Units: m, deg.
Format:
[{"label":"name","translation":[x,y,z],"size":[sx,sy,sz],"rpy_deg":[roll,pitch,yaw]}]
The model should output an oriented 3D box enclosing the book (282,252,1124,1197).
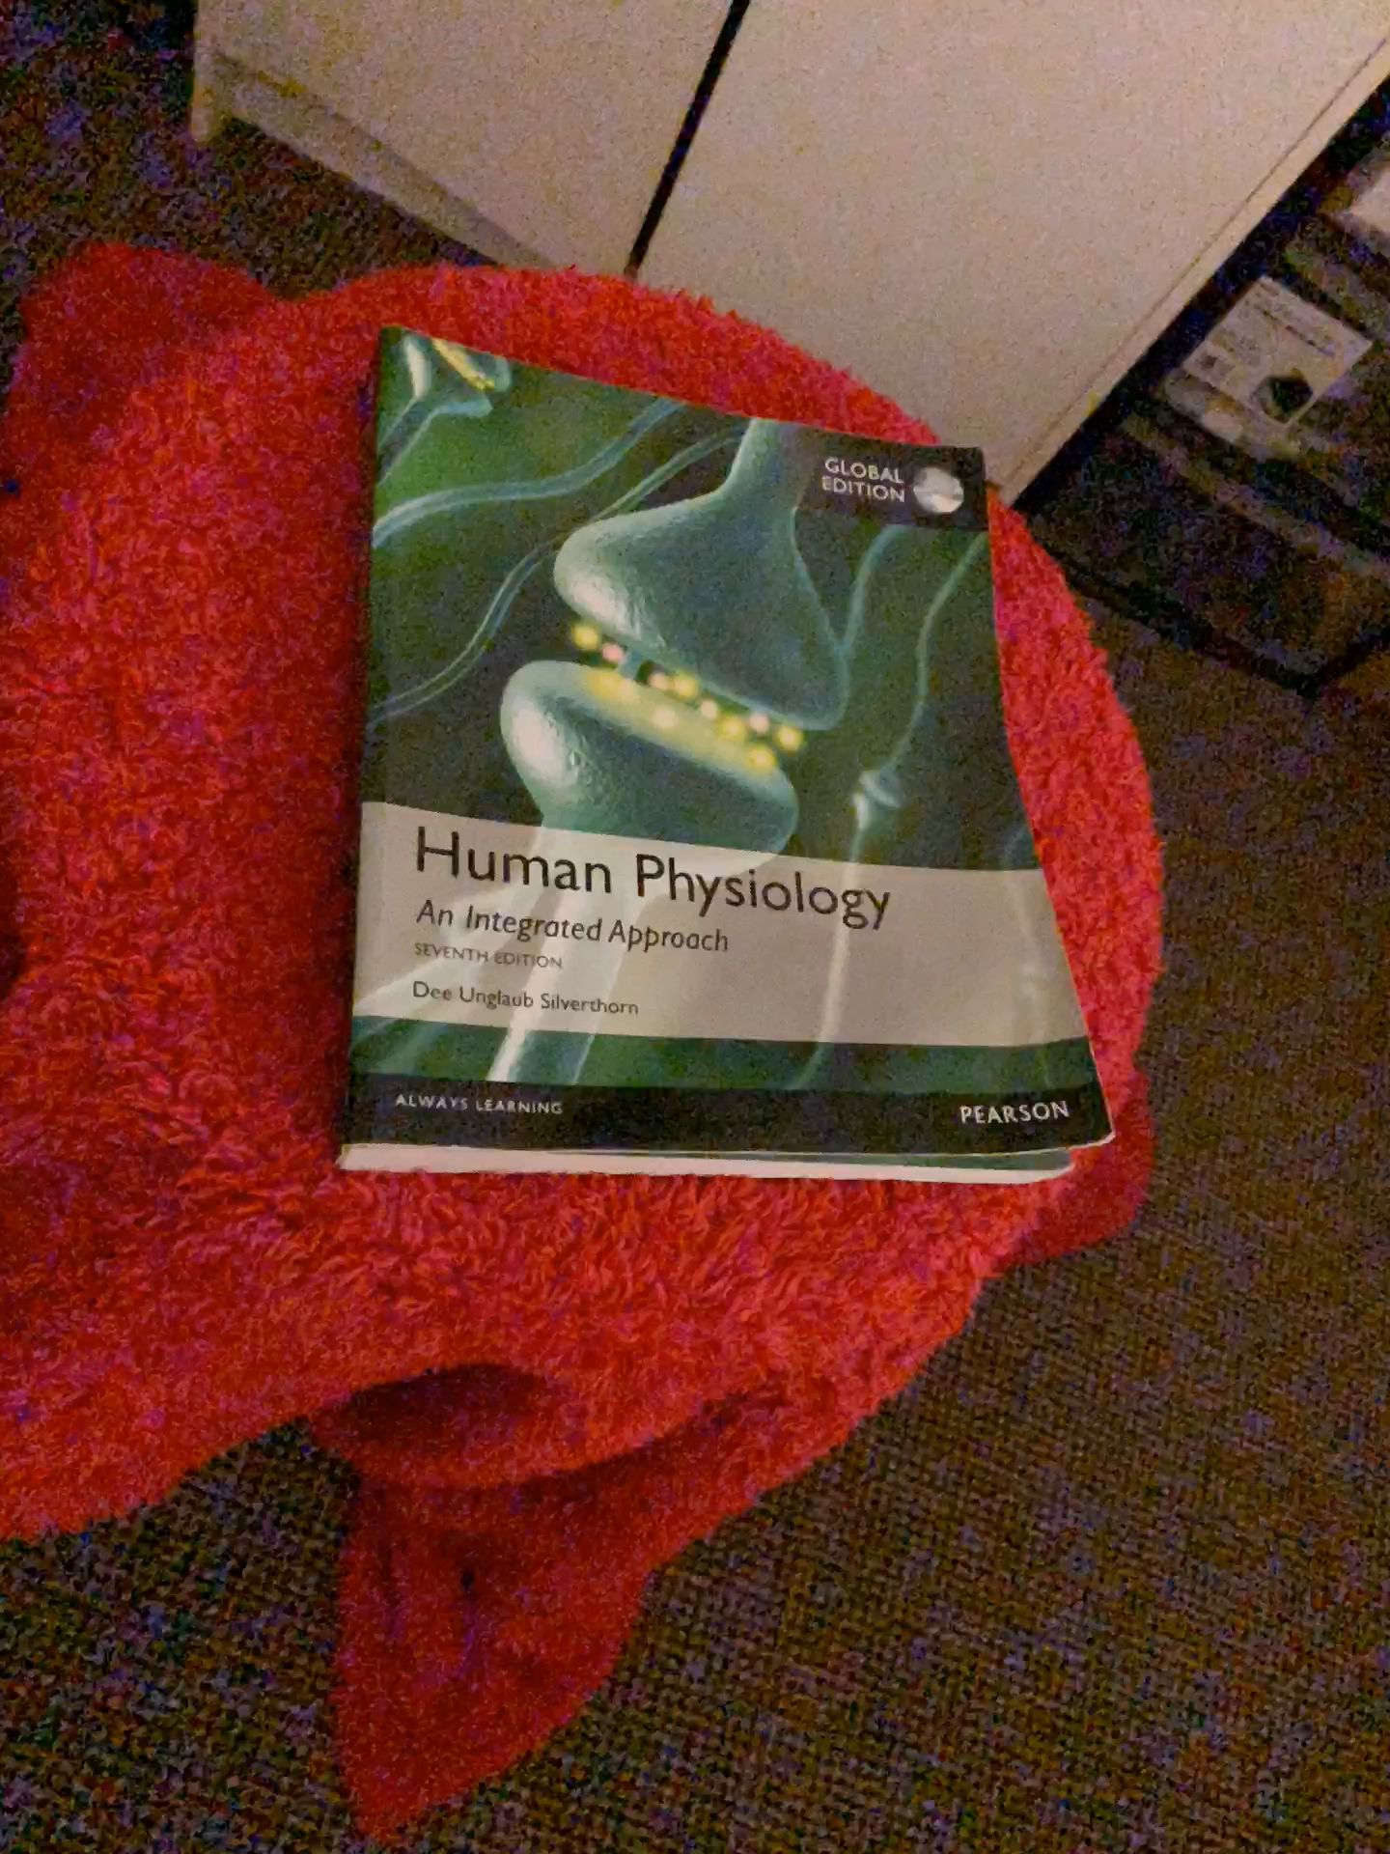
[{"label":"book","translation":[-0.002,-0.065,0.495],"size":[0.251,0.070,0.301],"rpy_deg":[5,66,-20]}]
